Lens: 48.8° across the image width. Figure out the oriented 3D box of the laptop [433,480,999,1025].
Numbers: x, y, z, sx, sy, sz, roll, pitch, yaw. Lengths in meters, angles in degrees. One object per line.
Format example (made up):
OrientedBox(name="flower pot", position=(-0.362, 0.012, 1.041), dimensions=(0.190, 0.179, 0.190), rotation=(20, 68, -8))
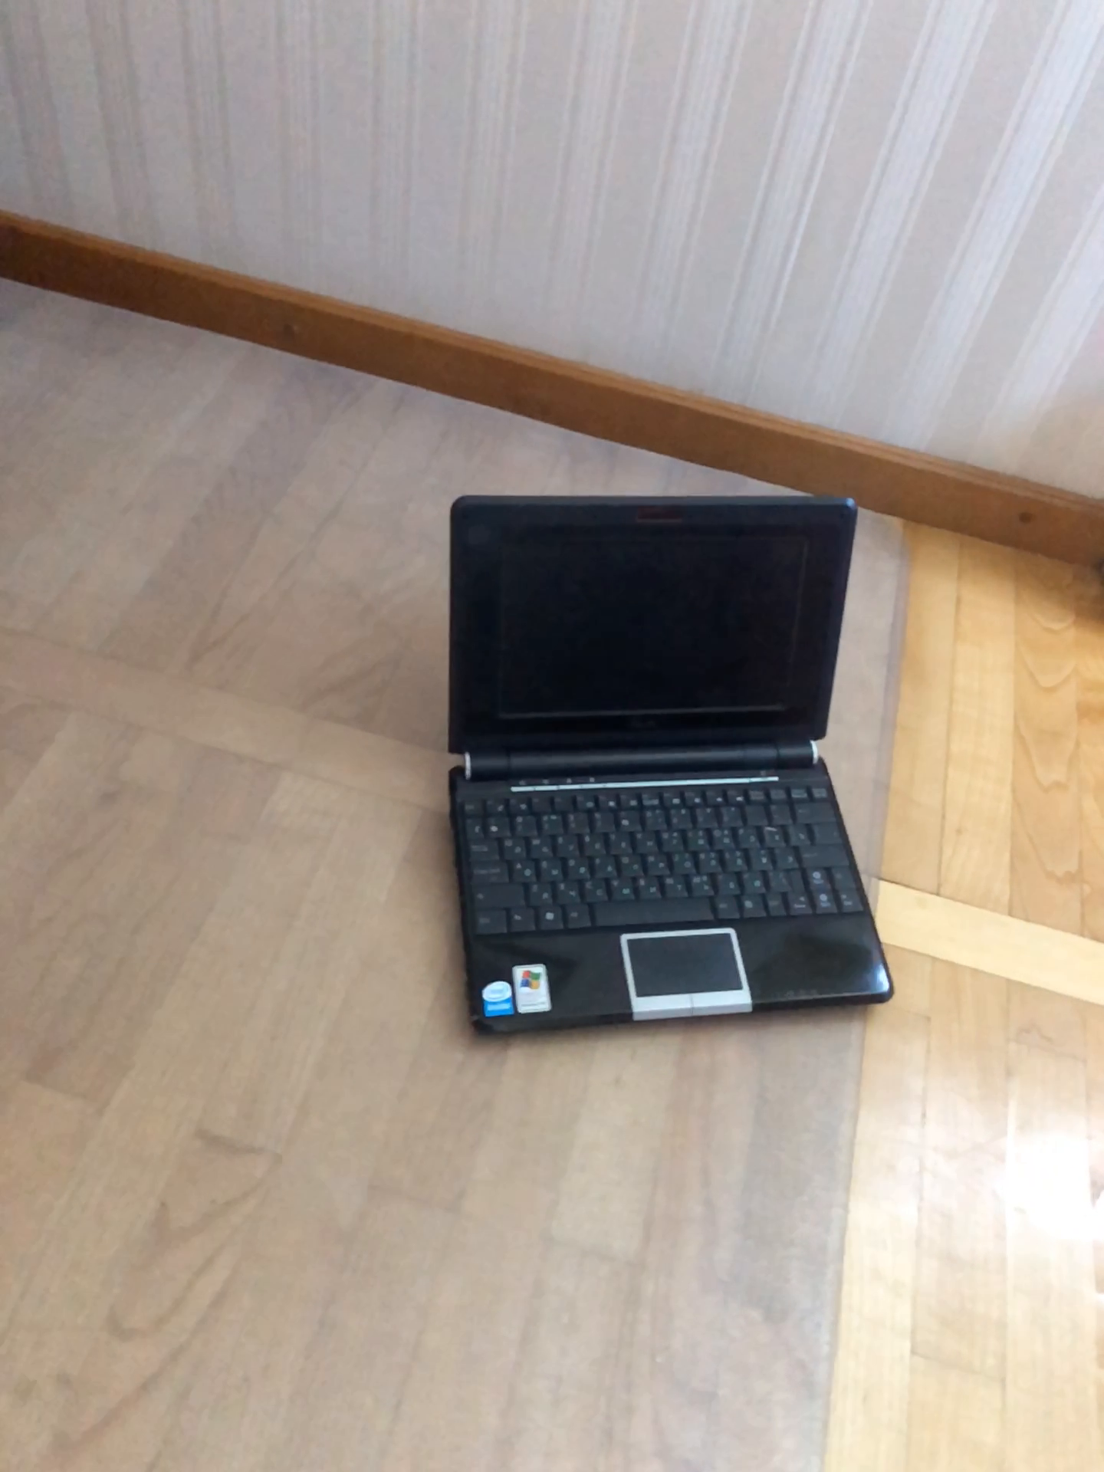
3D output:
OrientedBox(name="laptop", position=(0.075, 0.003, 0.752), dimensions=(0.264, 0.159, 0.277), rotation=(-2, 54, -12))
